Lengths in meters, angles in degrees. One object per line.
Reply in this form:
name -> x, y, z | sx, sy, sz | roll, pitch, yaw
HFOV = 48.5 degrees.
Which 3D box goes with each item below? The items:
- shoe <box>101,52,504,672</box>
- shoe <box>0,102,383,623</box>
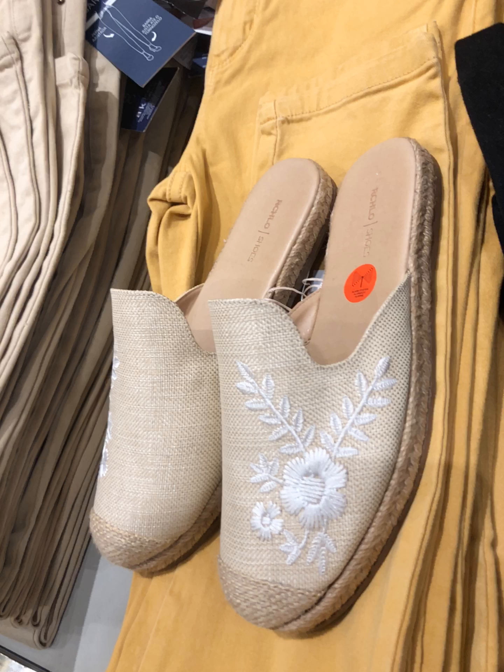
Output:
shoe -> 0.034, 0.006, 0.245 | 0.090, 0.070, 0.240 | 3, 66, 43
shoe -> -0.034, 0.004, 0.291 | 0.090, 0.070, 0.240 | 16, 75, 46
